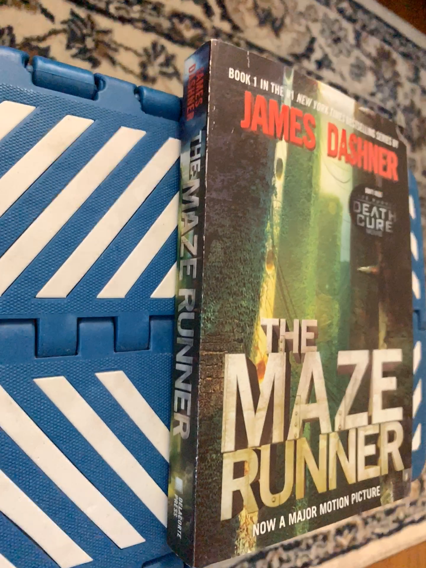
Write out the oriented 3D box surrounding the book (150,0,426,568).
[{"bbox_3d":[0.050,0.003,0.210,0.151,0.030,0.230,5,83,-35],"label":"book"}]
